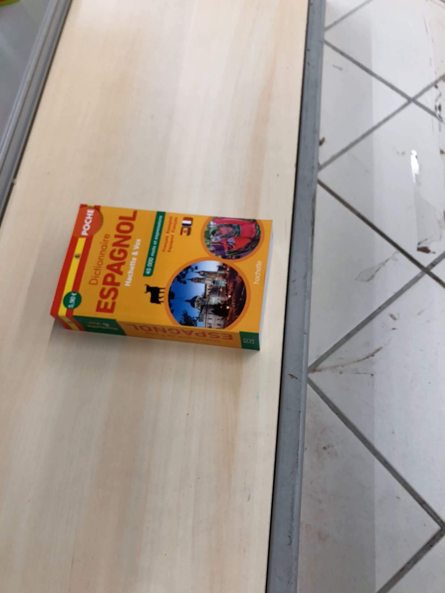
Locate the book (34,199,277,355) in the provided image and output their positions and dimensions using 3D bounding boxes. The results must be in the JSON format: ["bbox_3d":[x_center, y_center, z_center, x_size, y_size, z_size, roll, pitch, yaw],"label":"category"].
[{"bbox_3d":[-0.052,-0.020,0.437,0.190,0.040,0.117,5,67,8],"label":"book"}]
